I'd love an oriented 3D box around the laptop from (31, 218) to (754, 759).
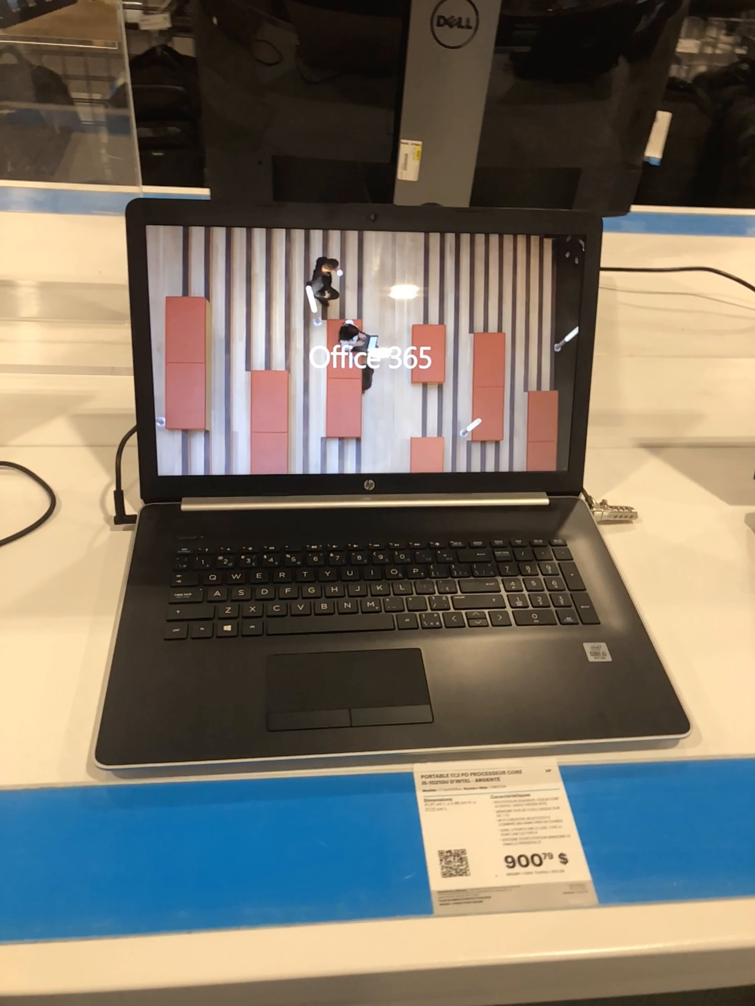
[{"bbox_3d":[0.006,-0.039,0.654,0.411,0.242,0.382,-1,37,-7],"label":"laptop"}]
